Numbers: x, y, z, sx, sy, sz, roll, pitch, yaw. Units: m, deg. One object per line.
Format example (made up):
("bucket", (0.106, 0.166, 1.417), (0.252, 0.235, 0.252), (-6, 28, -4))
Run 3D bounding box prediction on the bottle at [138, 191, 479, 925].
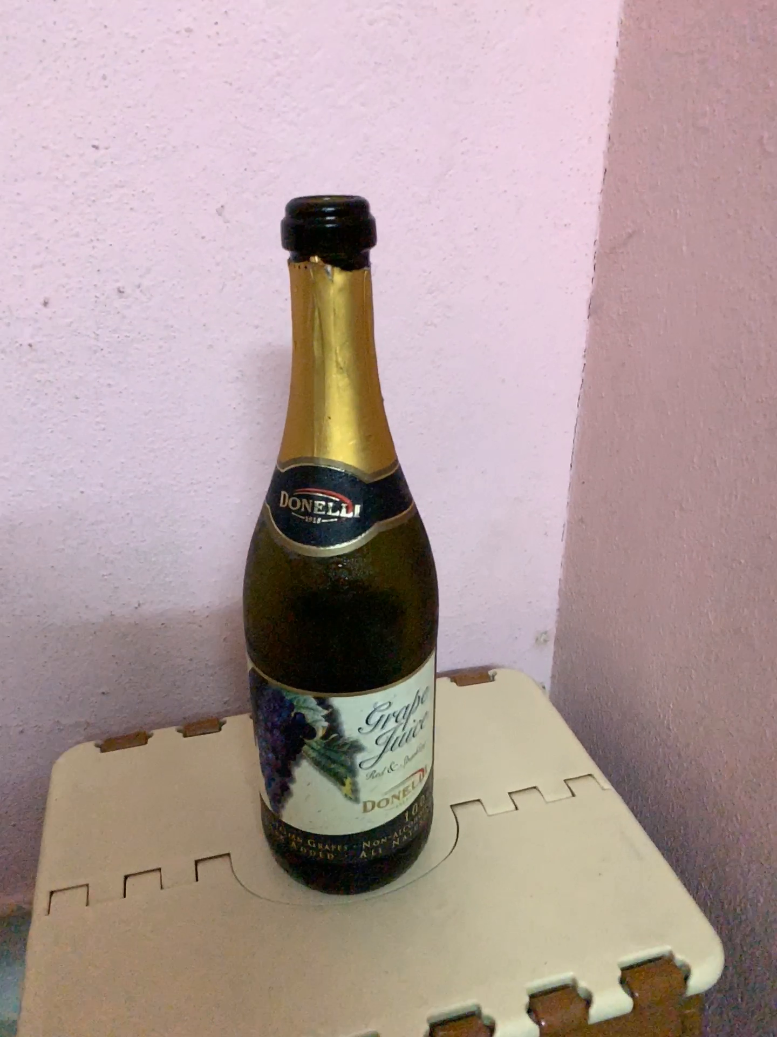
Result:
("bottle", (-0.022, 0.024, 0.317), (0.090, 0.279, 0.070), (7, 26, 15))
